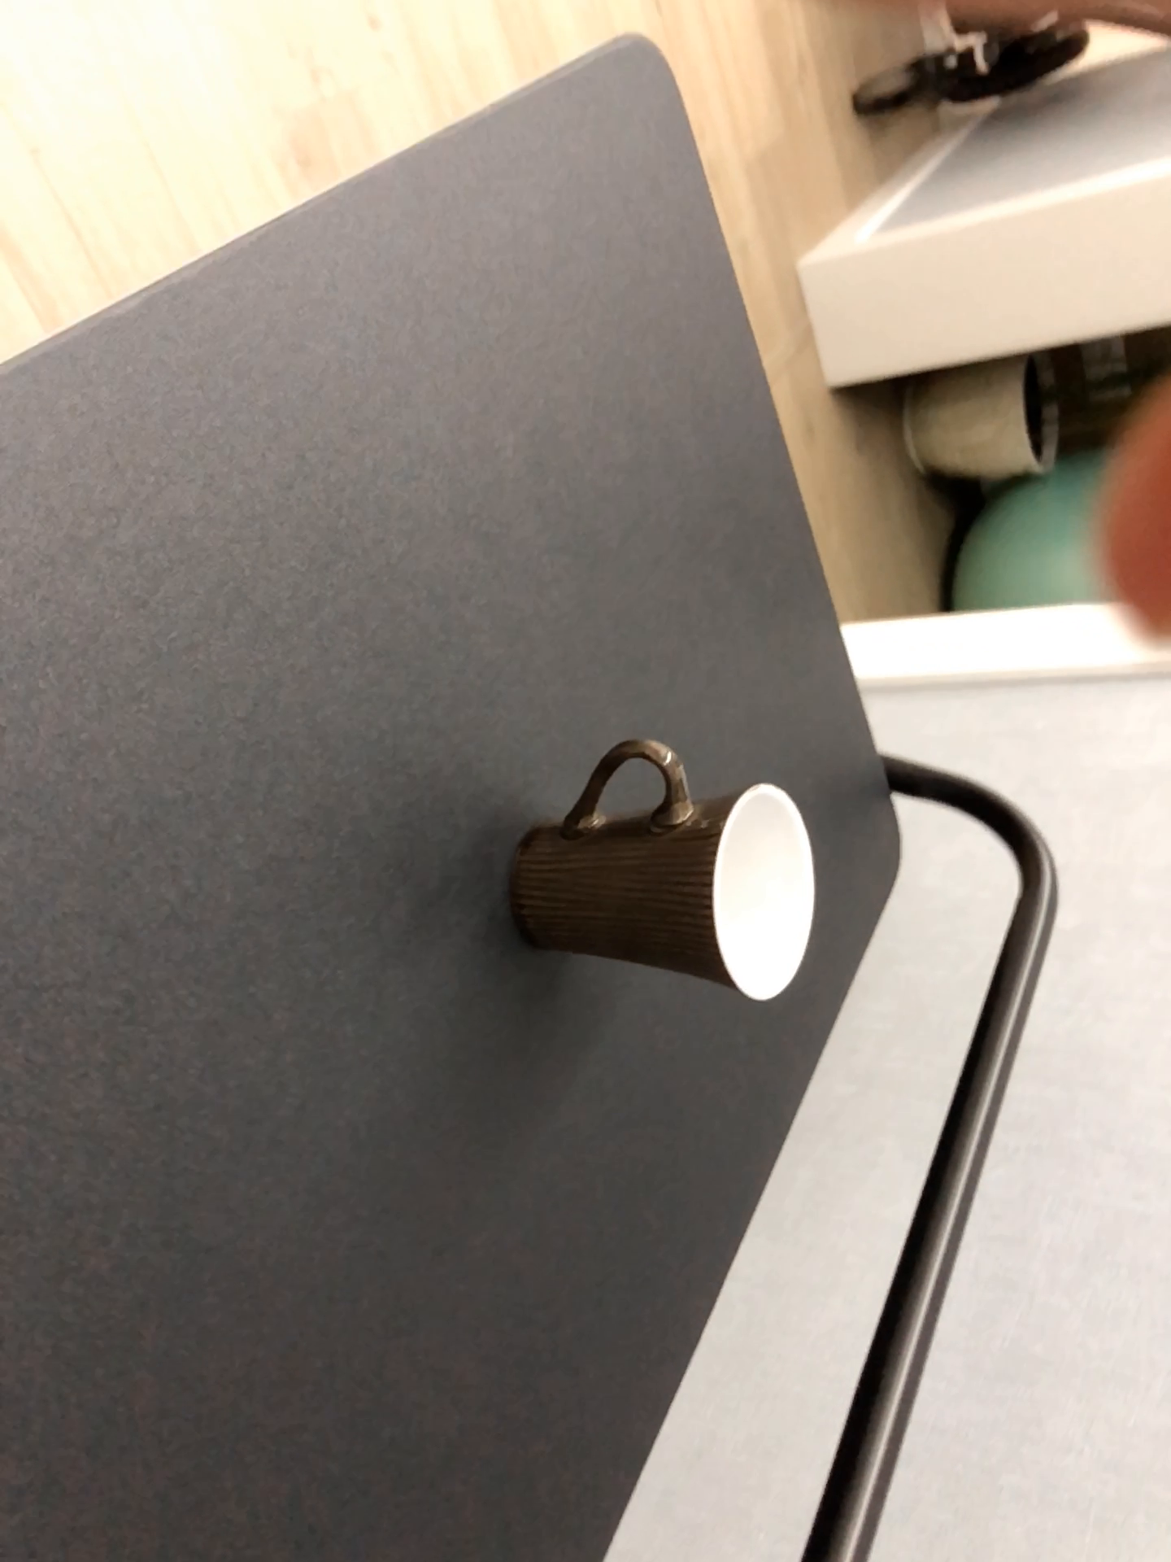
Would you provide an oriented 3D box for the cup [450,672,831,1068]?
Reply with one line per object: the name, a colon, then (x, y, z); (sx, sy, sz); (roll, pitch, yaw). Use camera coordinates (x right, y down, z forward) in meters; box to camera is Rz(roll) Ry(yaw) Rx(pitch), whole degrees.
cup: (0.020, 0.024, 0.382); (0.066, 0.069, 0.089); (-46, 126, -47)
